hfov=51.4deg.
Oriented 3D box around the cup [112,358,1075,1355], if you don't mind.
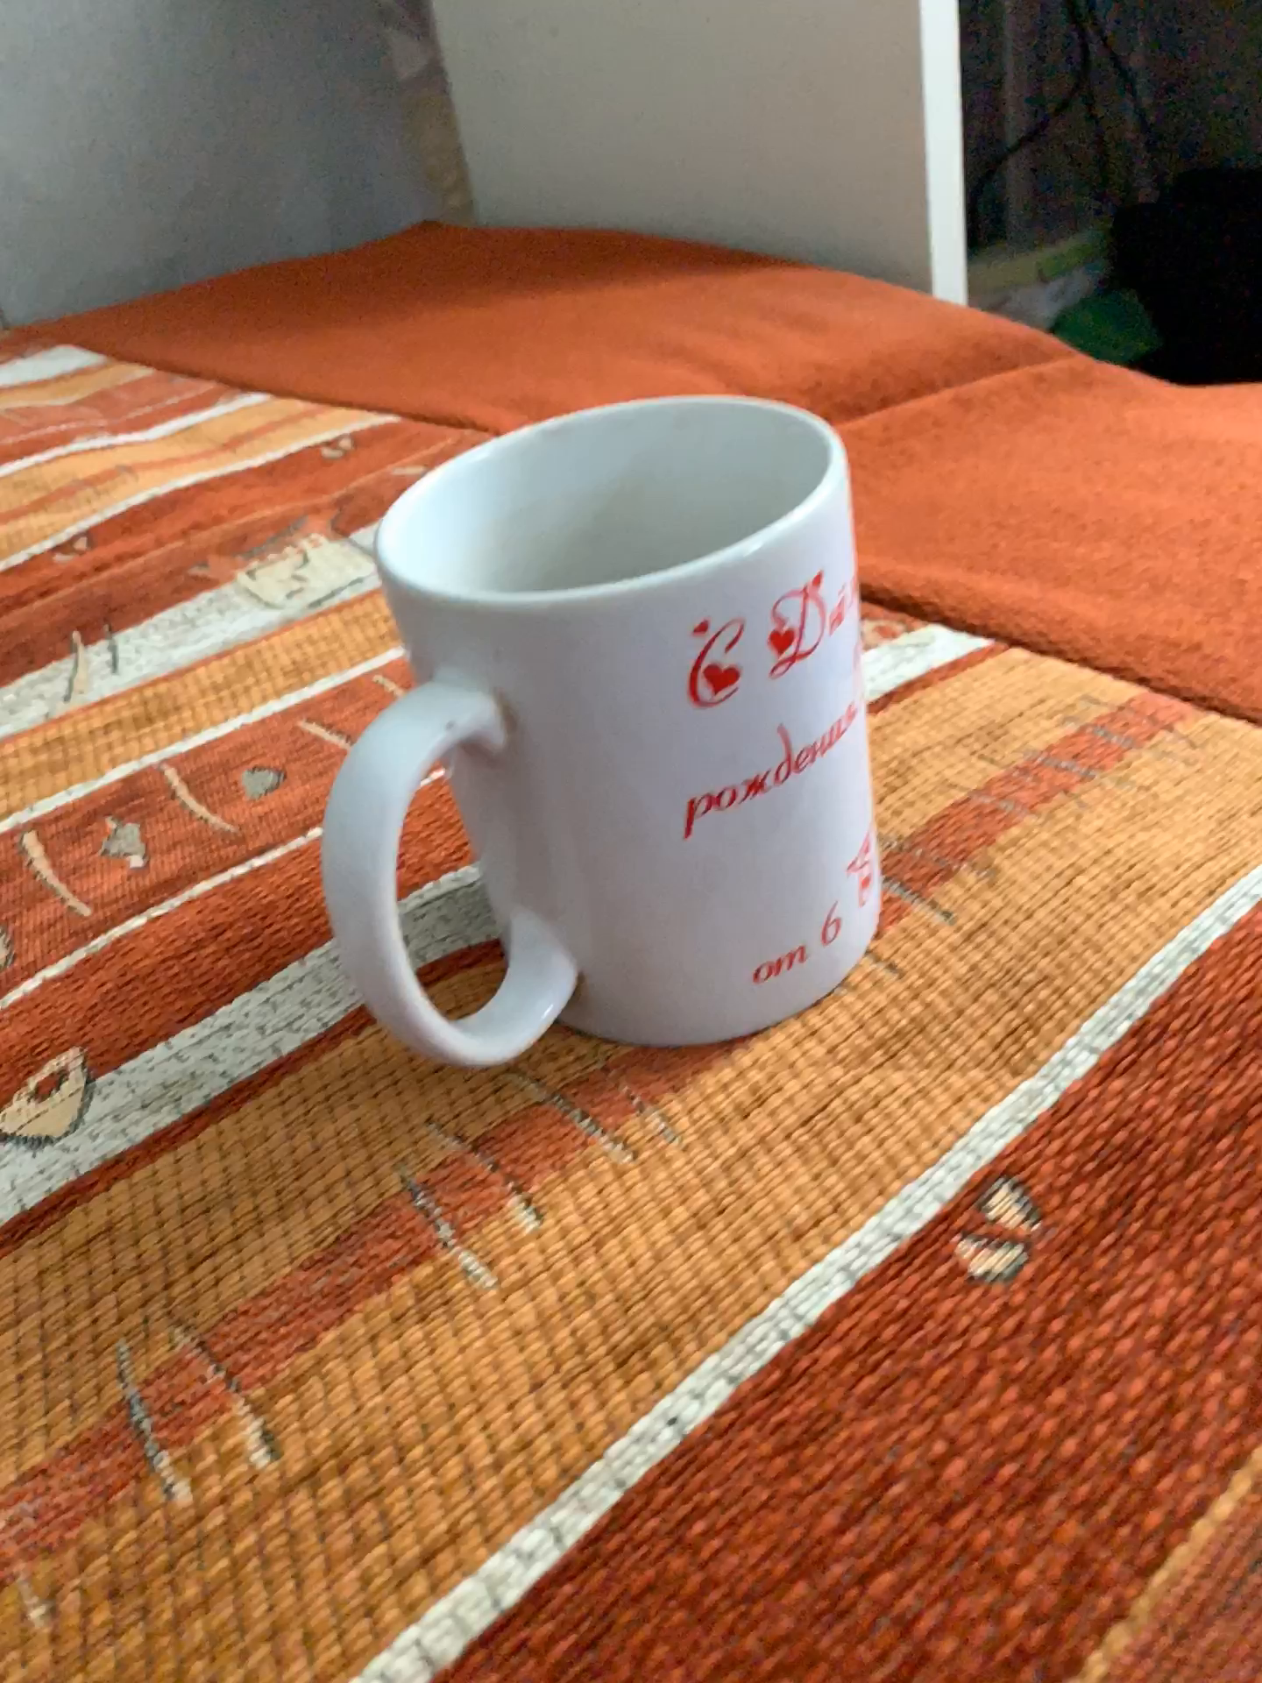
[{"bbox_3d":[0.007,-0.009,0.200,0.080,0.089,0.111,16,44,36],"label":"cup"}]
